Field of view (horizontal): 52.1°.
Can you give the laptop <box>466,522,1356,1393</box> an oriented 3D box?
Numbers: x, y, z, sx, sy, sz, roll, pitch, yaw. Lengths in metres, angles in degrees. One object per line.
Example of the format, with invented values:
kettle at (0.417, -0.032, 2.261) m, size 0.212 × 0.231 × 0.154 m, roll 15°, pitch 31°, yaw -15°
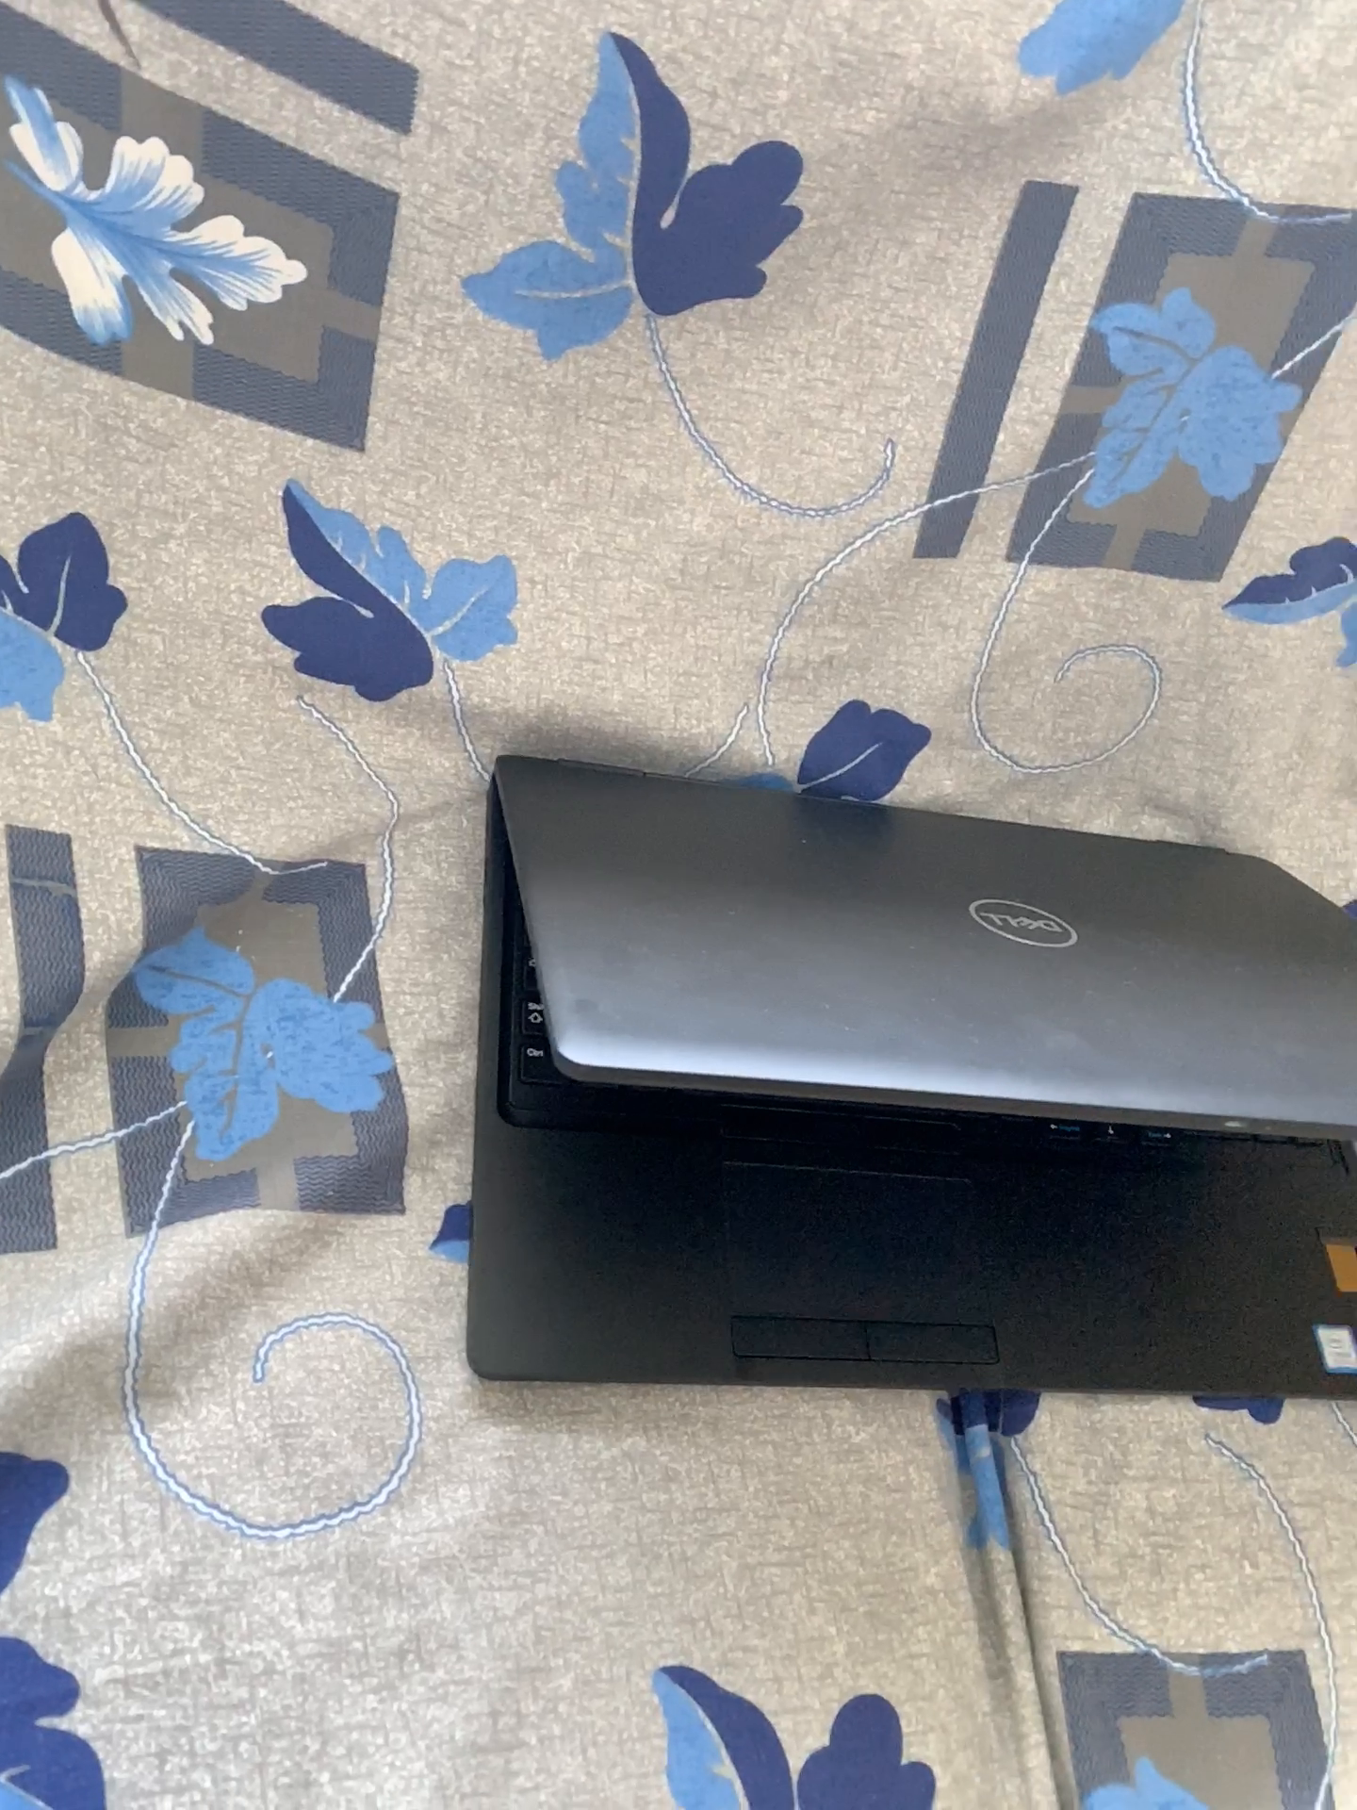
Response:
laptop at (0.127, 0.032, 0.491) m, size 0.372 × 0.142 × 0.239 m, roll 7°, pitch 58°, yaw -14°
